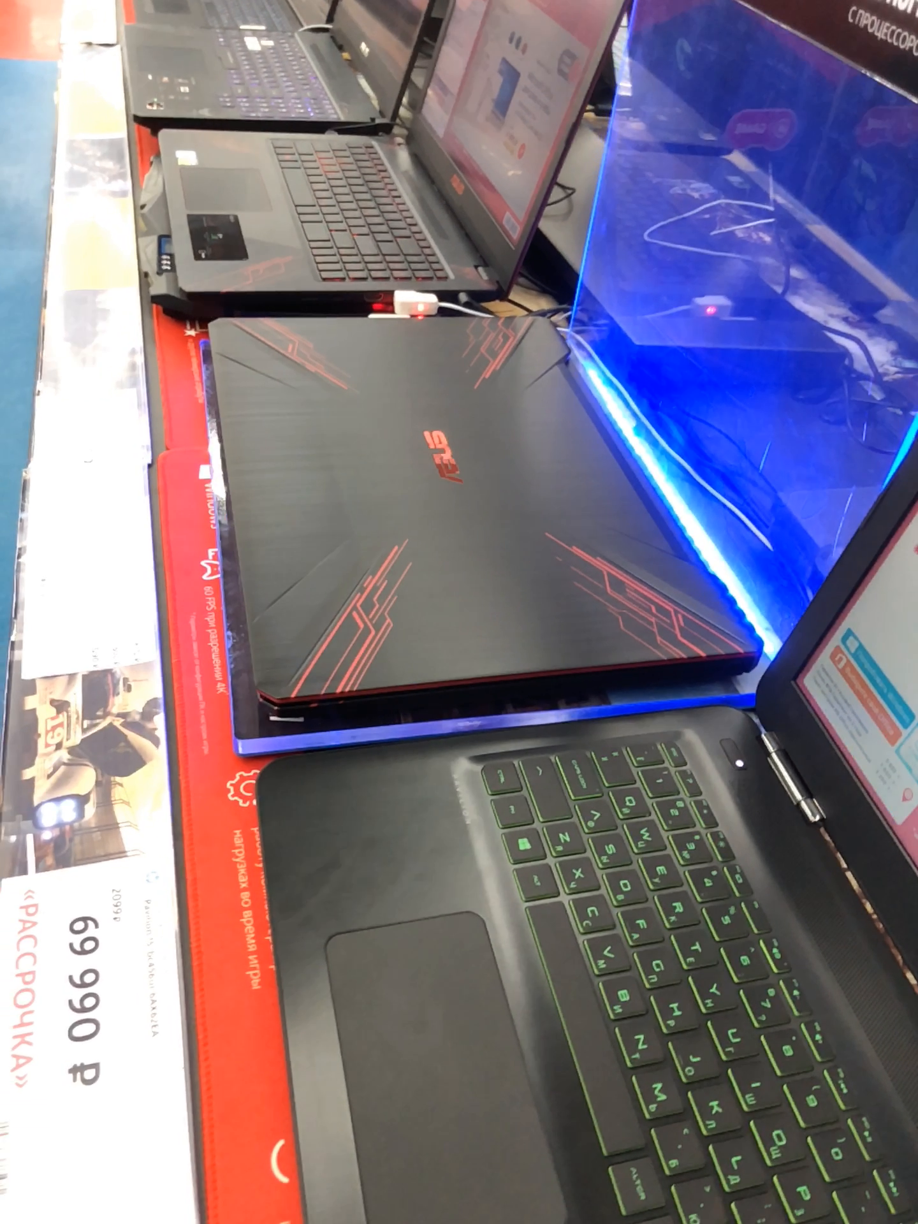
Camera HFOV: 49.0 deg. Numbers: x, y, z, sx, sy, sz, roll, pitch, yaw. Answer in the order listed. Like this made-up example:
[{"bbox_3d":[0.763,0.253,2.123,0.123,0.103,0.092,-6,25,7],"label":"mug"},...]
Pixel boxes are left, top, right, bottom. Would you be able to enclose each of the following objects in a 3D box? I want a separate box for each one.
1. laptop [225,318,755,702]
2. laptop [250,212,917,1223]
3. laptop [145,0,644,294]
[{"bbox_3d":[-0.010,-0.094,0.623,0.243,0.006,0.375,-5,42,-13],"label":"laptop"},{"bbox_3d":[0.105,0.085,0.280,0.292,0.242,0.375,-5,43,-13],"label":"laptop"},{"bbox_3d":[-0.086,-0.467,0.856,0.318,0.231,0.392,-5,42,-16],"label":"laptop"}]
